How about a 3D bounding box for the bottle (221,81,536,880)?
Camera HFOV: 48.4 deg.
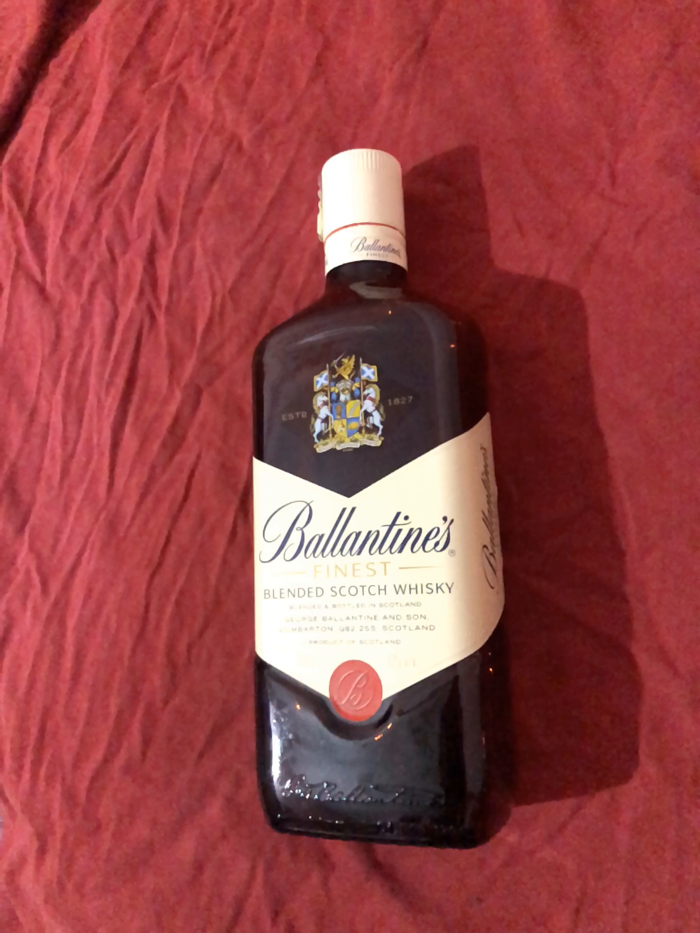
[{"bbox_3d":[0.009,0.002,0.280,0.090,0.050,0.250,-5,82,19],"label":"bottle"}]
